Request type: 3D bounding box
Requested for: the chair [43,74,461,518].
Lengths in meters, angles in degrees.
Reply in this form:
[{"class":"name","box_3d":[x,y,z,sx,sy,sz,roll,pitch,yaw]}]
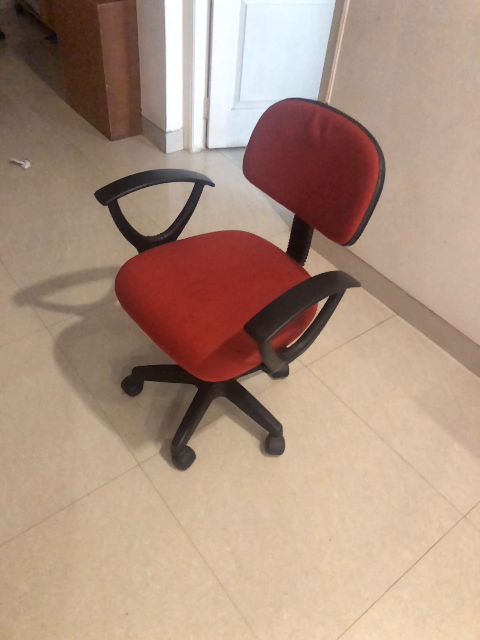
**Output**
[{"class":"chair","box_3d":[-0.002,-0.074,1.261,0.602,0.725,0.542,-27,53,-29]}]
